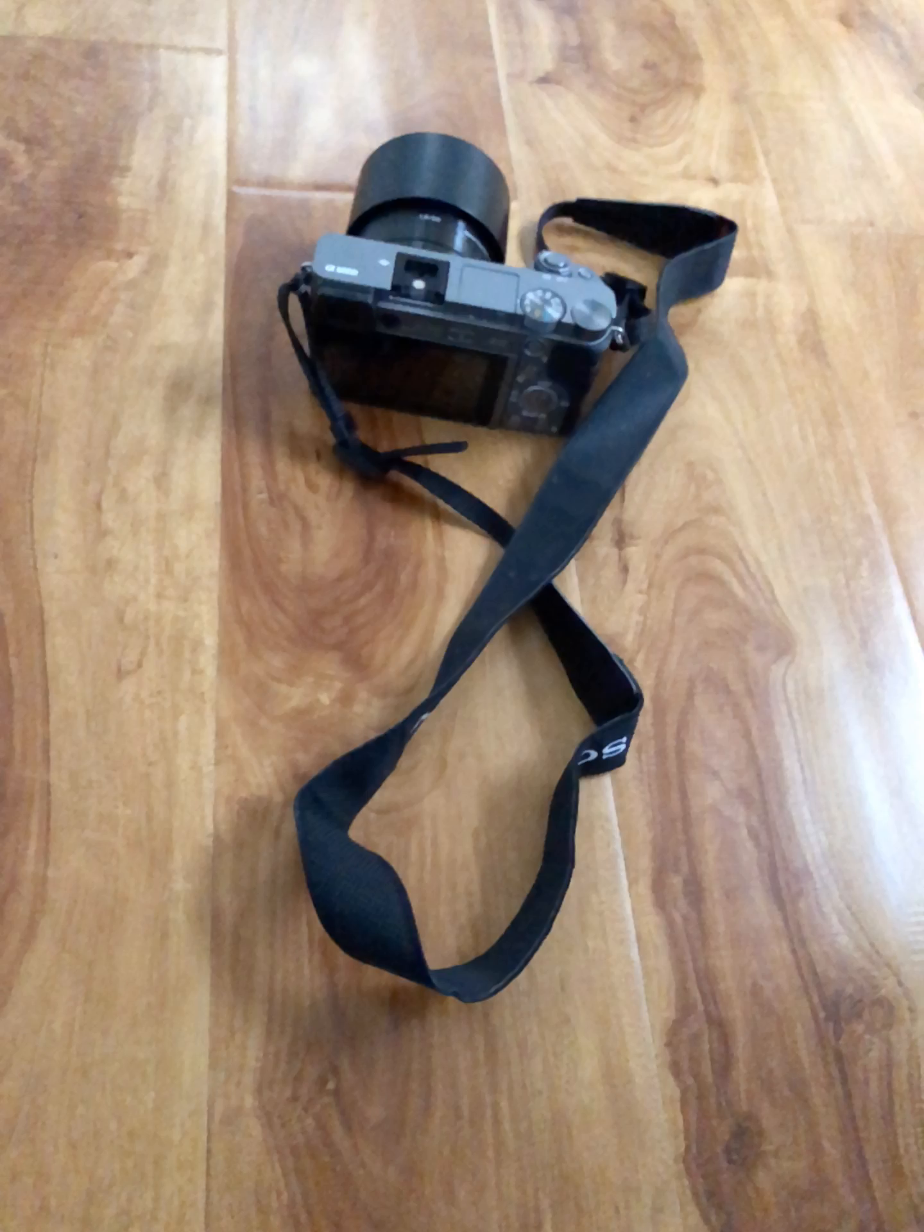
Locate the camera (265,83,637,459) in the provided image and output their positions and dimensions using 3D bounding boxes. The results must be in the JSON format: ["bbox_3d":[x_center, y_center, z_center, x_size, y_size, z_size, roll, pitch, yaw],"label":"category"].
[{"bbox_3d":[-0.004,-0.147,0.443,0.140,0.080,0.110,8,60,-5],"label":"camera"}]
